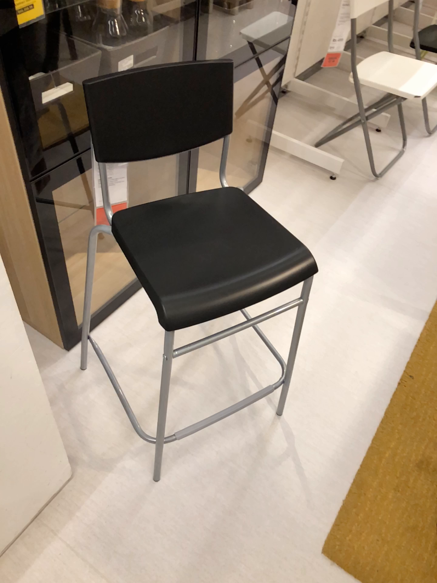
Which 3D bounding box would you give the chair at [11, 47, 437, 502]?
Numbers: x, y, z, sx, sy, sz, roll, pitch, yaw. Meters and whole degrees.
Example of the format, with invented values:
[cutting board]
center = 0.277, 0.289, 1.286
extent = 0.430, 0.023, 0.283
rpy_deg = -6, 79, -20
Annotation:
[chair]
center = -0.034, -0.017, 1.061
extent = 0.541, 0.765, 0.482
rpy_deg = -20, 54, -23
